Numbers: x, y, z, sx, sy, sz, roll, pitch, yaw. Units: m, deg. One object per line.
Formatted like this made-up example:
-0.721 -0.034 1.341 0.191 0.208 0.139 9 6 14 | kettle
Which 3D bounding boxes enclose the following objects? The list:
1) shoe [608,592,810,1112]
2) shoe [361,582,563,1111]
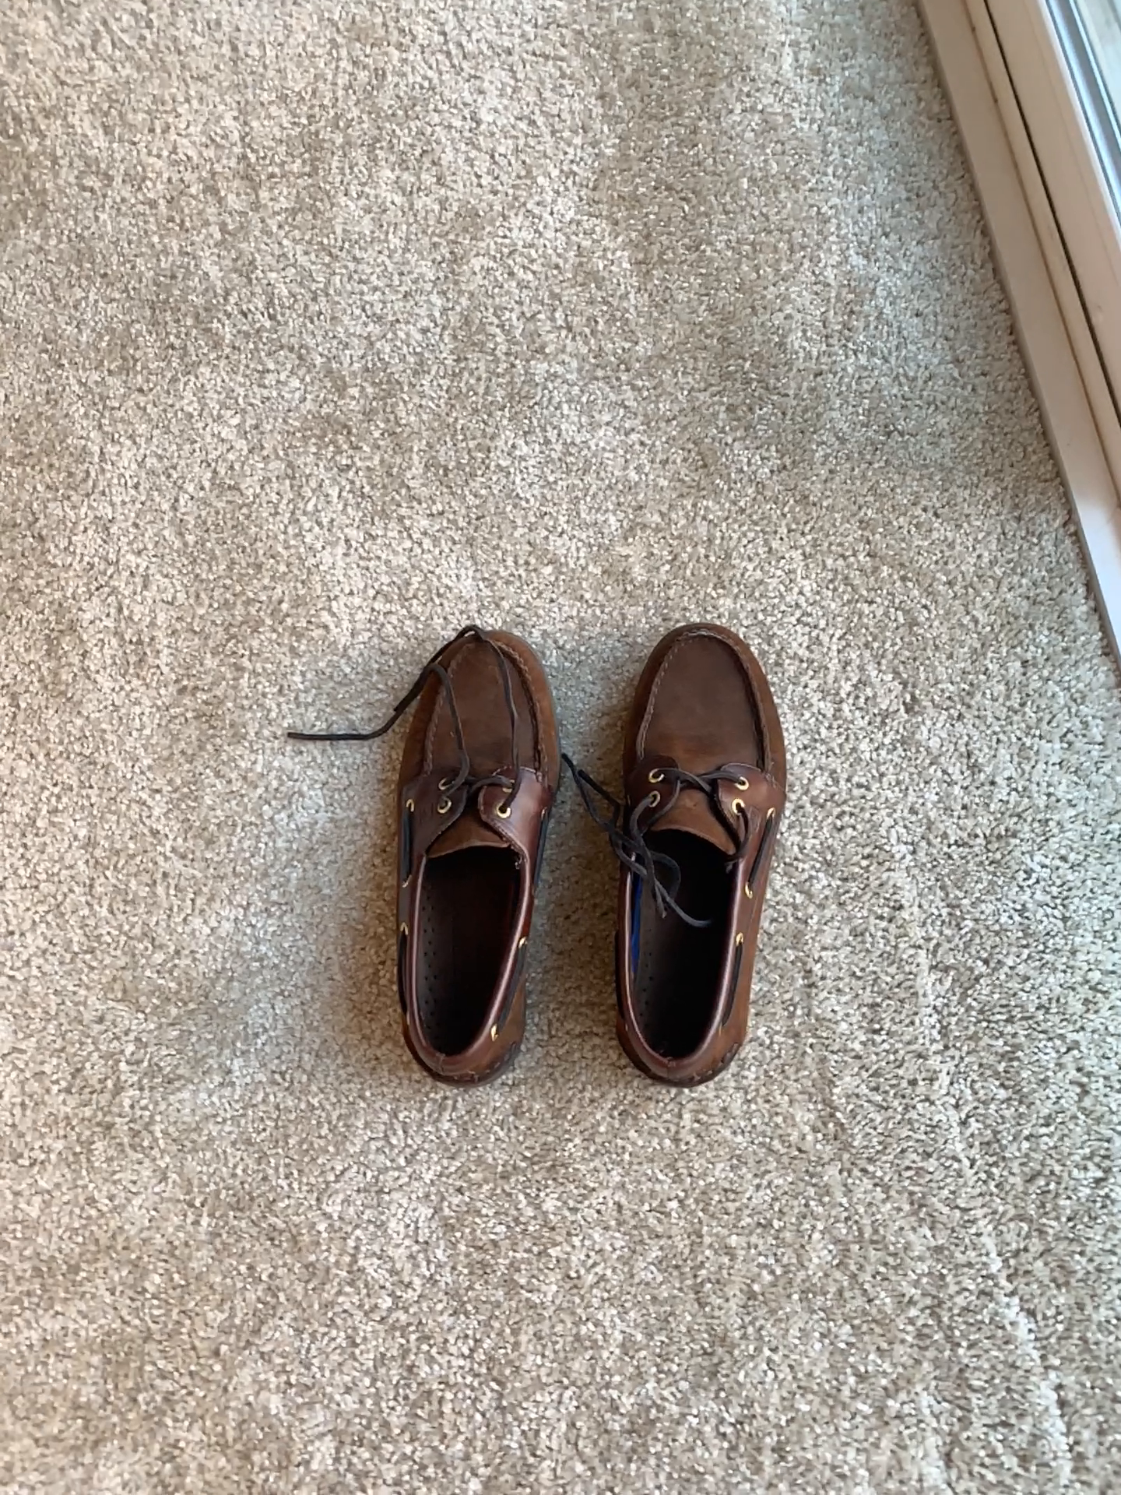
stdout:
0.090 0.063 0.710 0.110 0.100 0.300 0 77 6 | shoe
-0.057 0.062 0.741 0.100 0.100 0.320 0 77 6 | shoe
